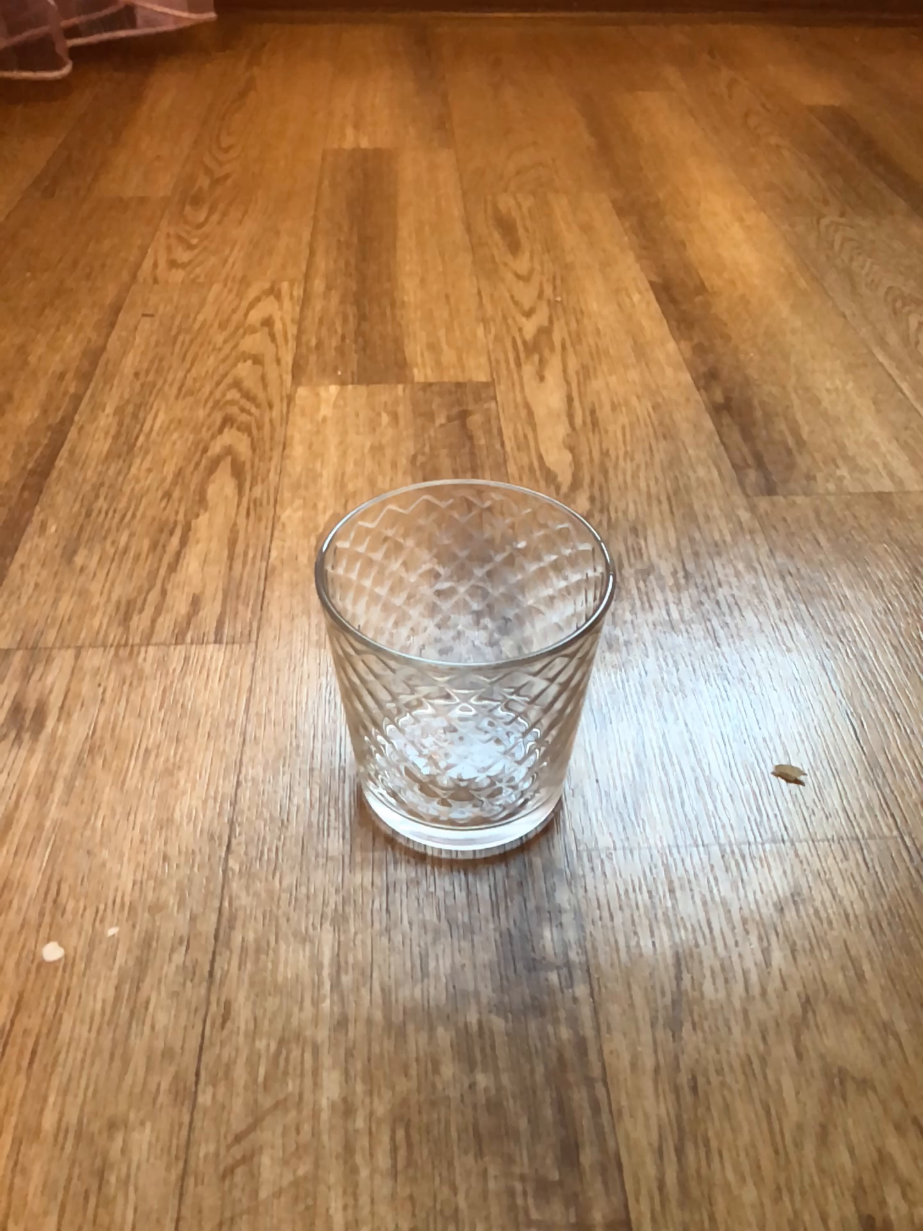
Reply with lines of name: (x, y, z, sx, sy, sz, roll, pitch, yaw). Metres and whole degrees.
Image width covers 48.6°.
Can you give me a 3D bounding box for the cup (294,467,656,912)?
cup: (0.000, 0.020, 0.285, 0.080, 0.090, 0.080, 1, 41, -1)
